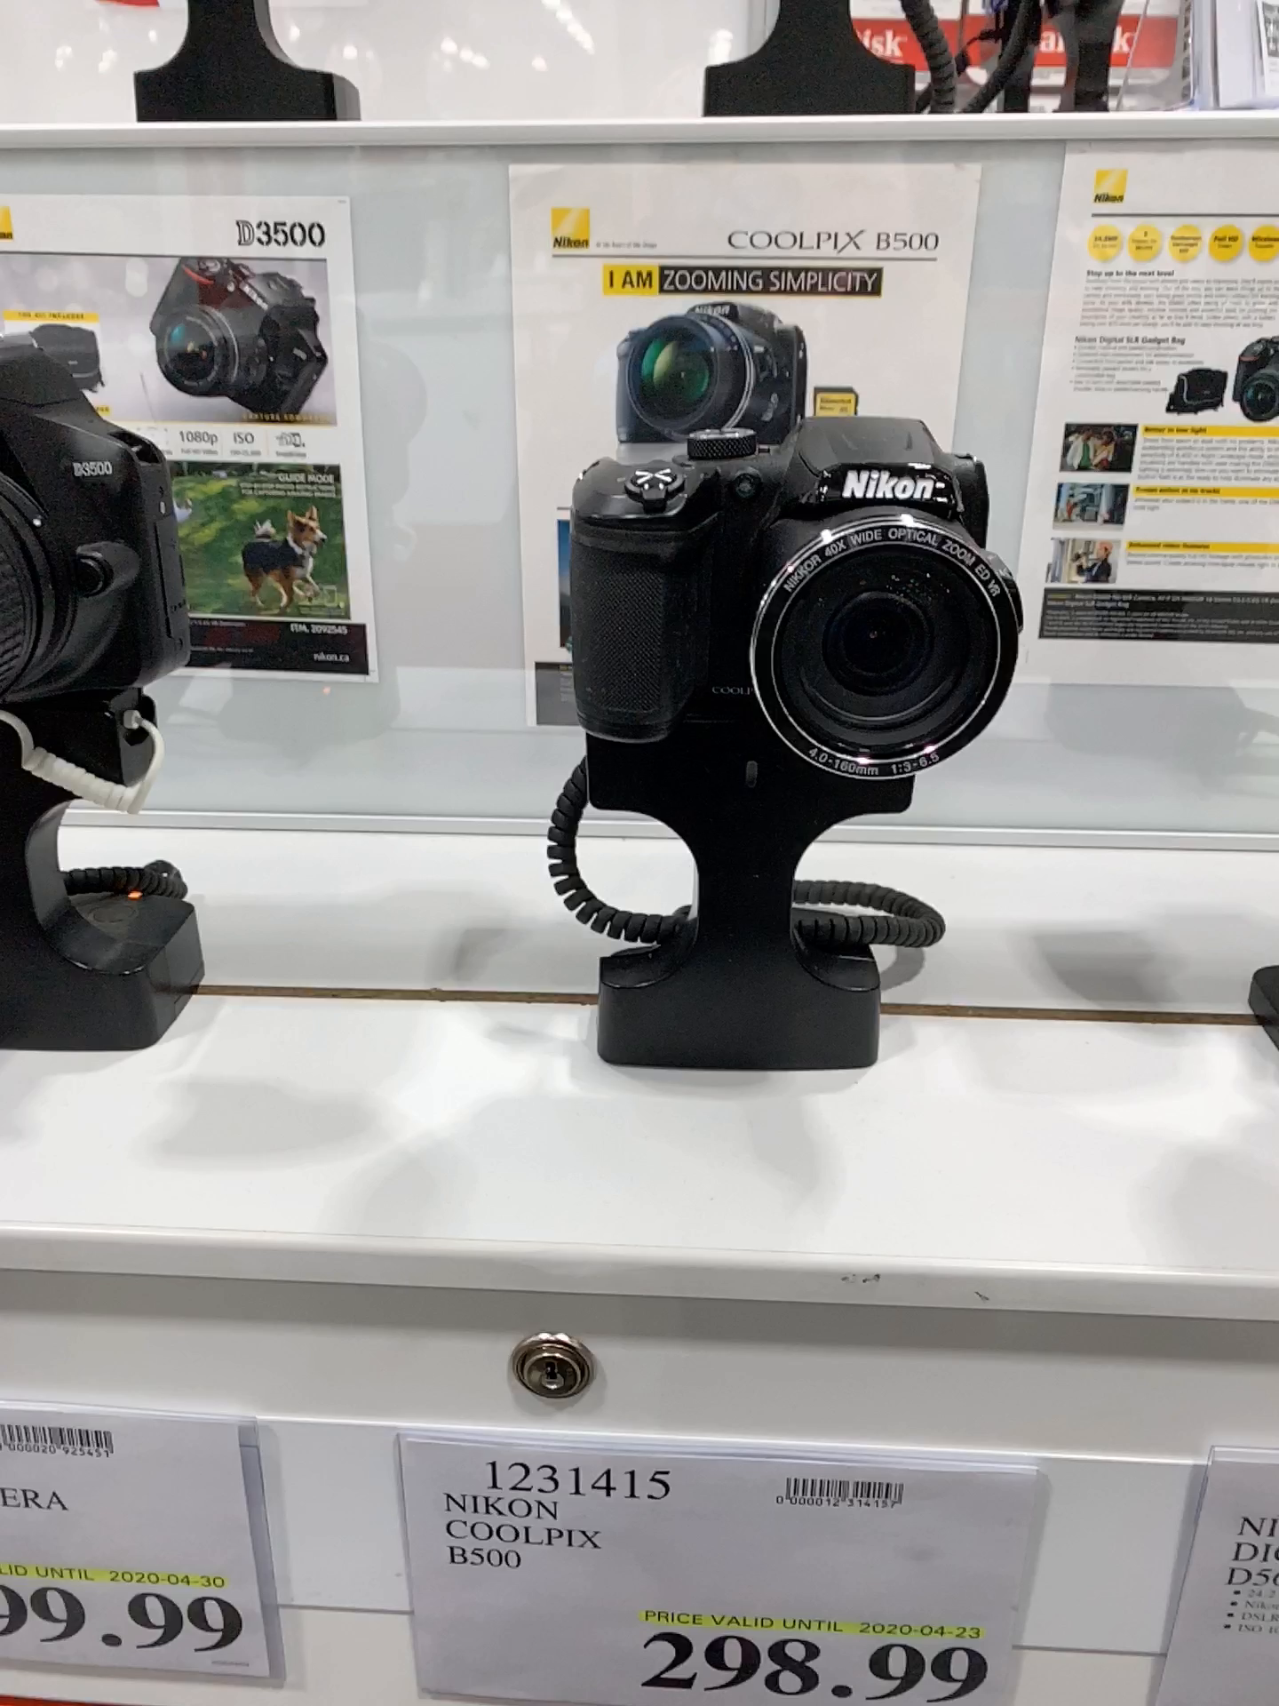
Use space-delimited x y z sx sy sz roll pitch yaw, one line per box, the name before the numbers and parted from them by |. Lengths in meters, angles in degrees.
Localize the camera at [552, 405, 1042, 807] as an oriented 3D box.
camera | 0.036 -0.067 0.346 0.110 0.089 0.070 0 23 1
